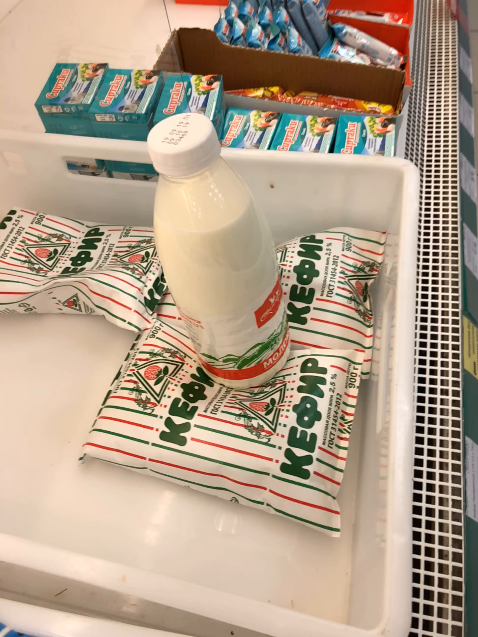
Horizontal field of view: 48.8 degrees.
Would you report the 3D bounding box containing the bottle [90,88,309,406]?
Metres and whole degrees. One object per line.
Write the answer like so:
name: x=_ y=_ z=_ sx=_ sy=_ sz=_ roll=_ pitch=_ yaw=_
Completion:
bottle: x=-0.010 y=-0.038 z=0.381 sx=0.085 sy=0.216 sz=0.085 roll=-5 pitch=51 yaw=7
